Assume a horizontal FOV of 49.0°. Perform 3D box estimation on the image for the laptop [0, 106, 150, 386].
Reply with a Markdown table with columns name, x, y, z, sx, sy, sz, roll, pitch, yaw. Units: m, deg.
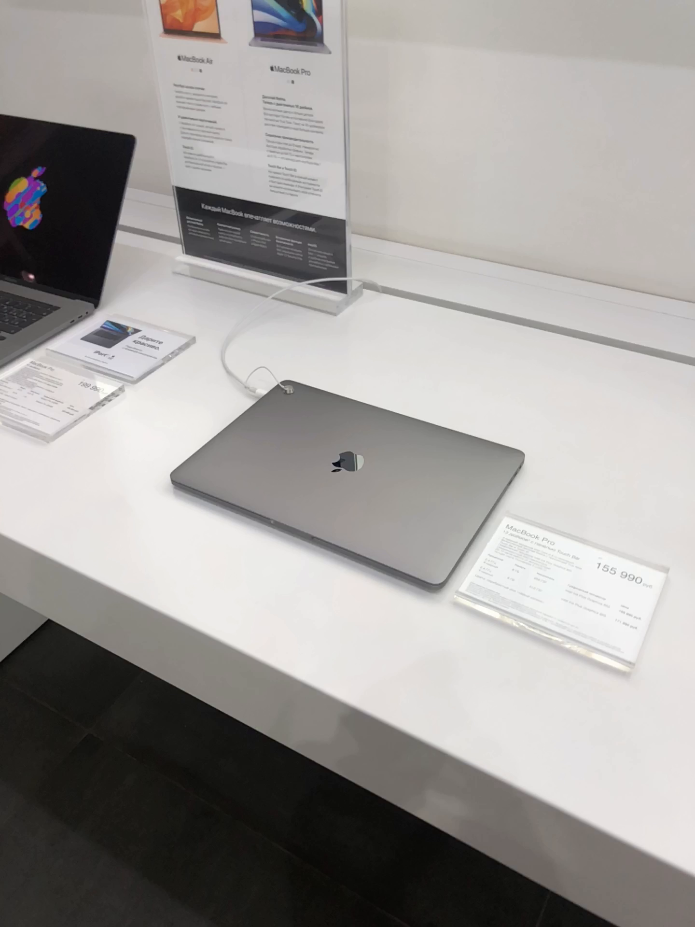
| name | x | y | z | sx | sy | sz | roll | pitch | yaw |
| --- | --- | --- | --- | --- | --- | --- | --- | --- | --- |
| laptop | -0.547 | -0.324 | 1.046 | 0.348 | 0.190 | 0.381 | 18 | 43 | 24 |

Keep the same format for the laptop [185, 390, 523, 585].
| name | x | y | z | sx | sy | sz | roll | pitch | yaw |
| --- | --- | --- | --- | --- | --- | --- | --- | --- | --- |
| laptop | 0.008 | 0.008 | 0.769 | 0.279 | 0.001 | 0.202 | 18 | 42 | 26 |
